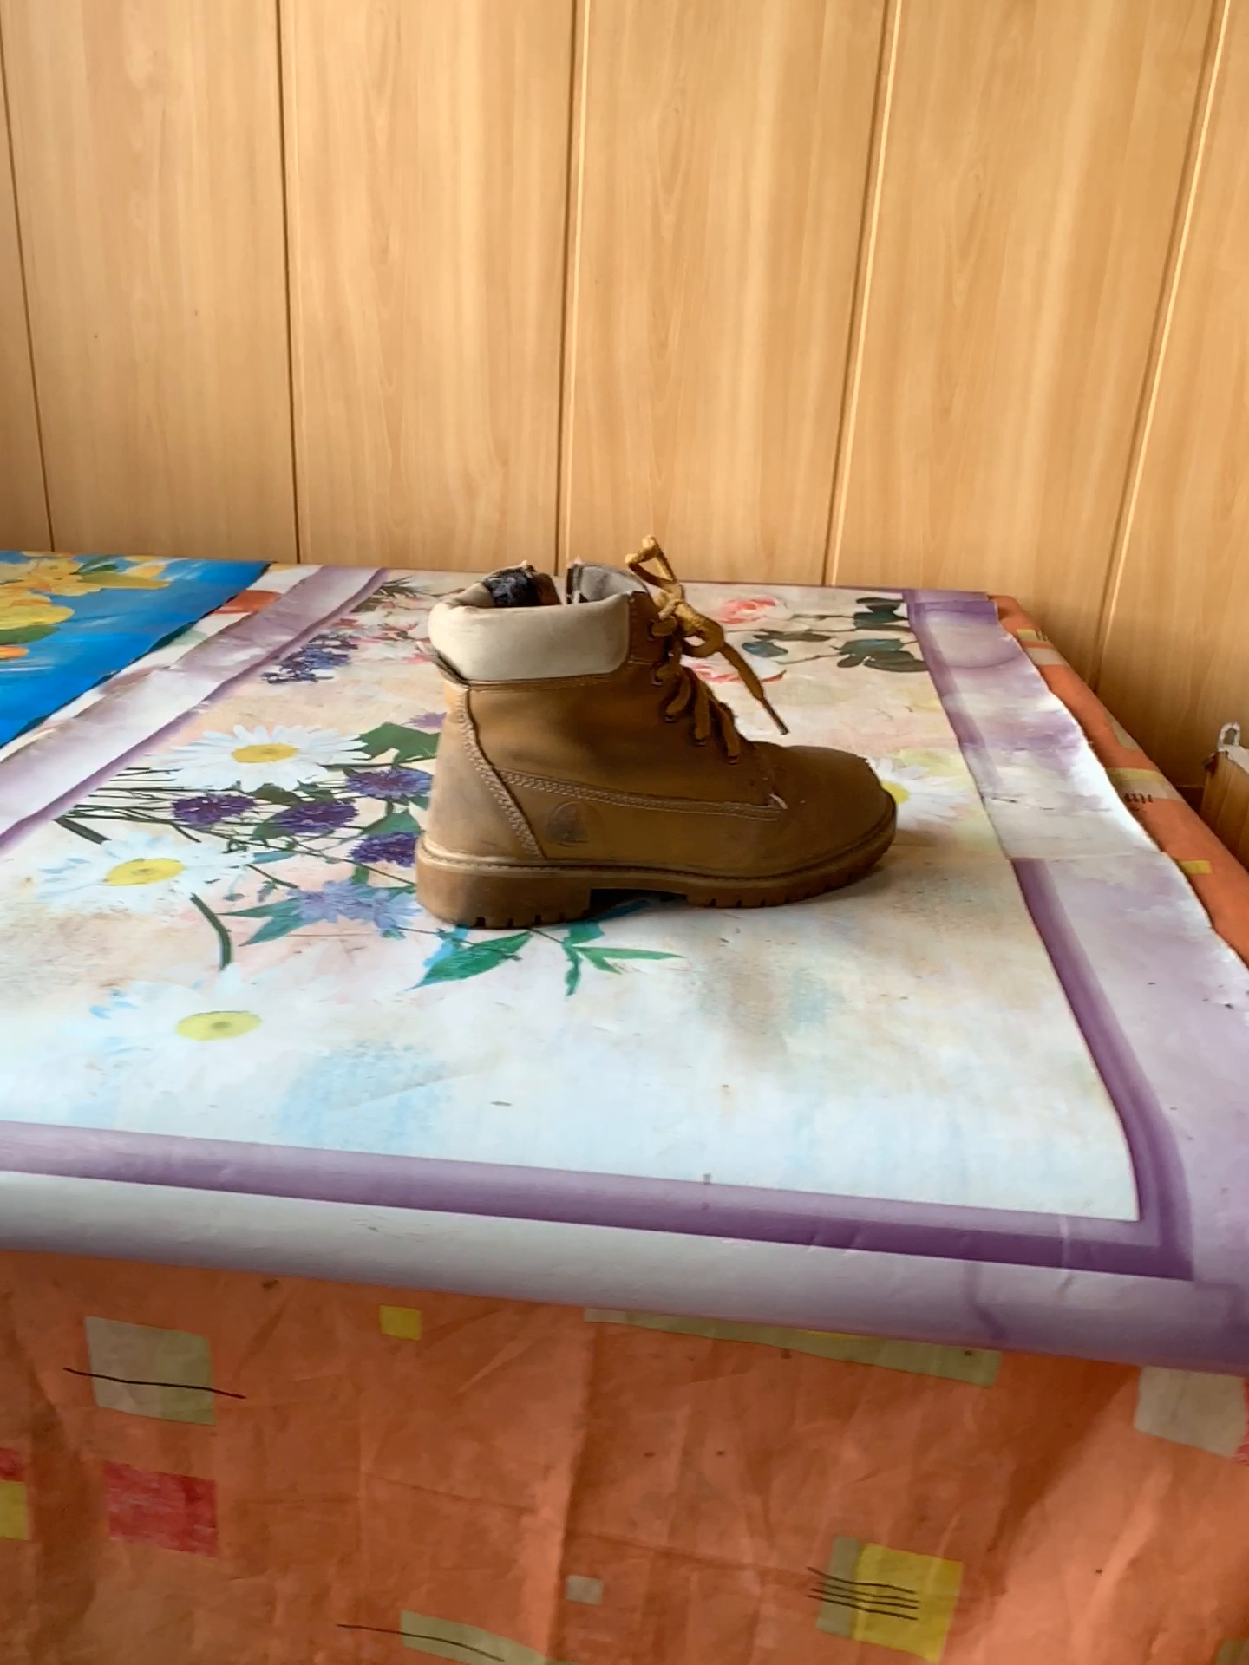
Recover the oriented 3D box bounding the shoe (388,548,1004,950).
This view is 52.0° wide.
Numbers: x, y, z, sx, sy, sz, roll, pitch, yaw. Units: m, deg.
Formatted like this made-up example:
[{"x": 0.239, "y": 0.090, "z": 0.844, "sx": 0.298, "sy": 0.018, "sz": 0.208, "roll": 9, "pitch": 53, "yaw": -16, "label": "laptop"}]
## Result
[{"x": 0.022, "y": -0.041, "z": 0.516, "sx": 0.220, "sy": 0.129, "sz": 0.091, "roll": -4, "pitch": 22, "yaw": -17, "label": "shoe"}]
